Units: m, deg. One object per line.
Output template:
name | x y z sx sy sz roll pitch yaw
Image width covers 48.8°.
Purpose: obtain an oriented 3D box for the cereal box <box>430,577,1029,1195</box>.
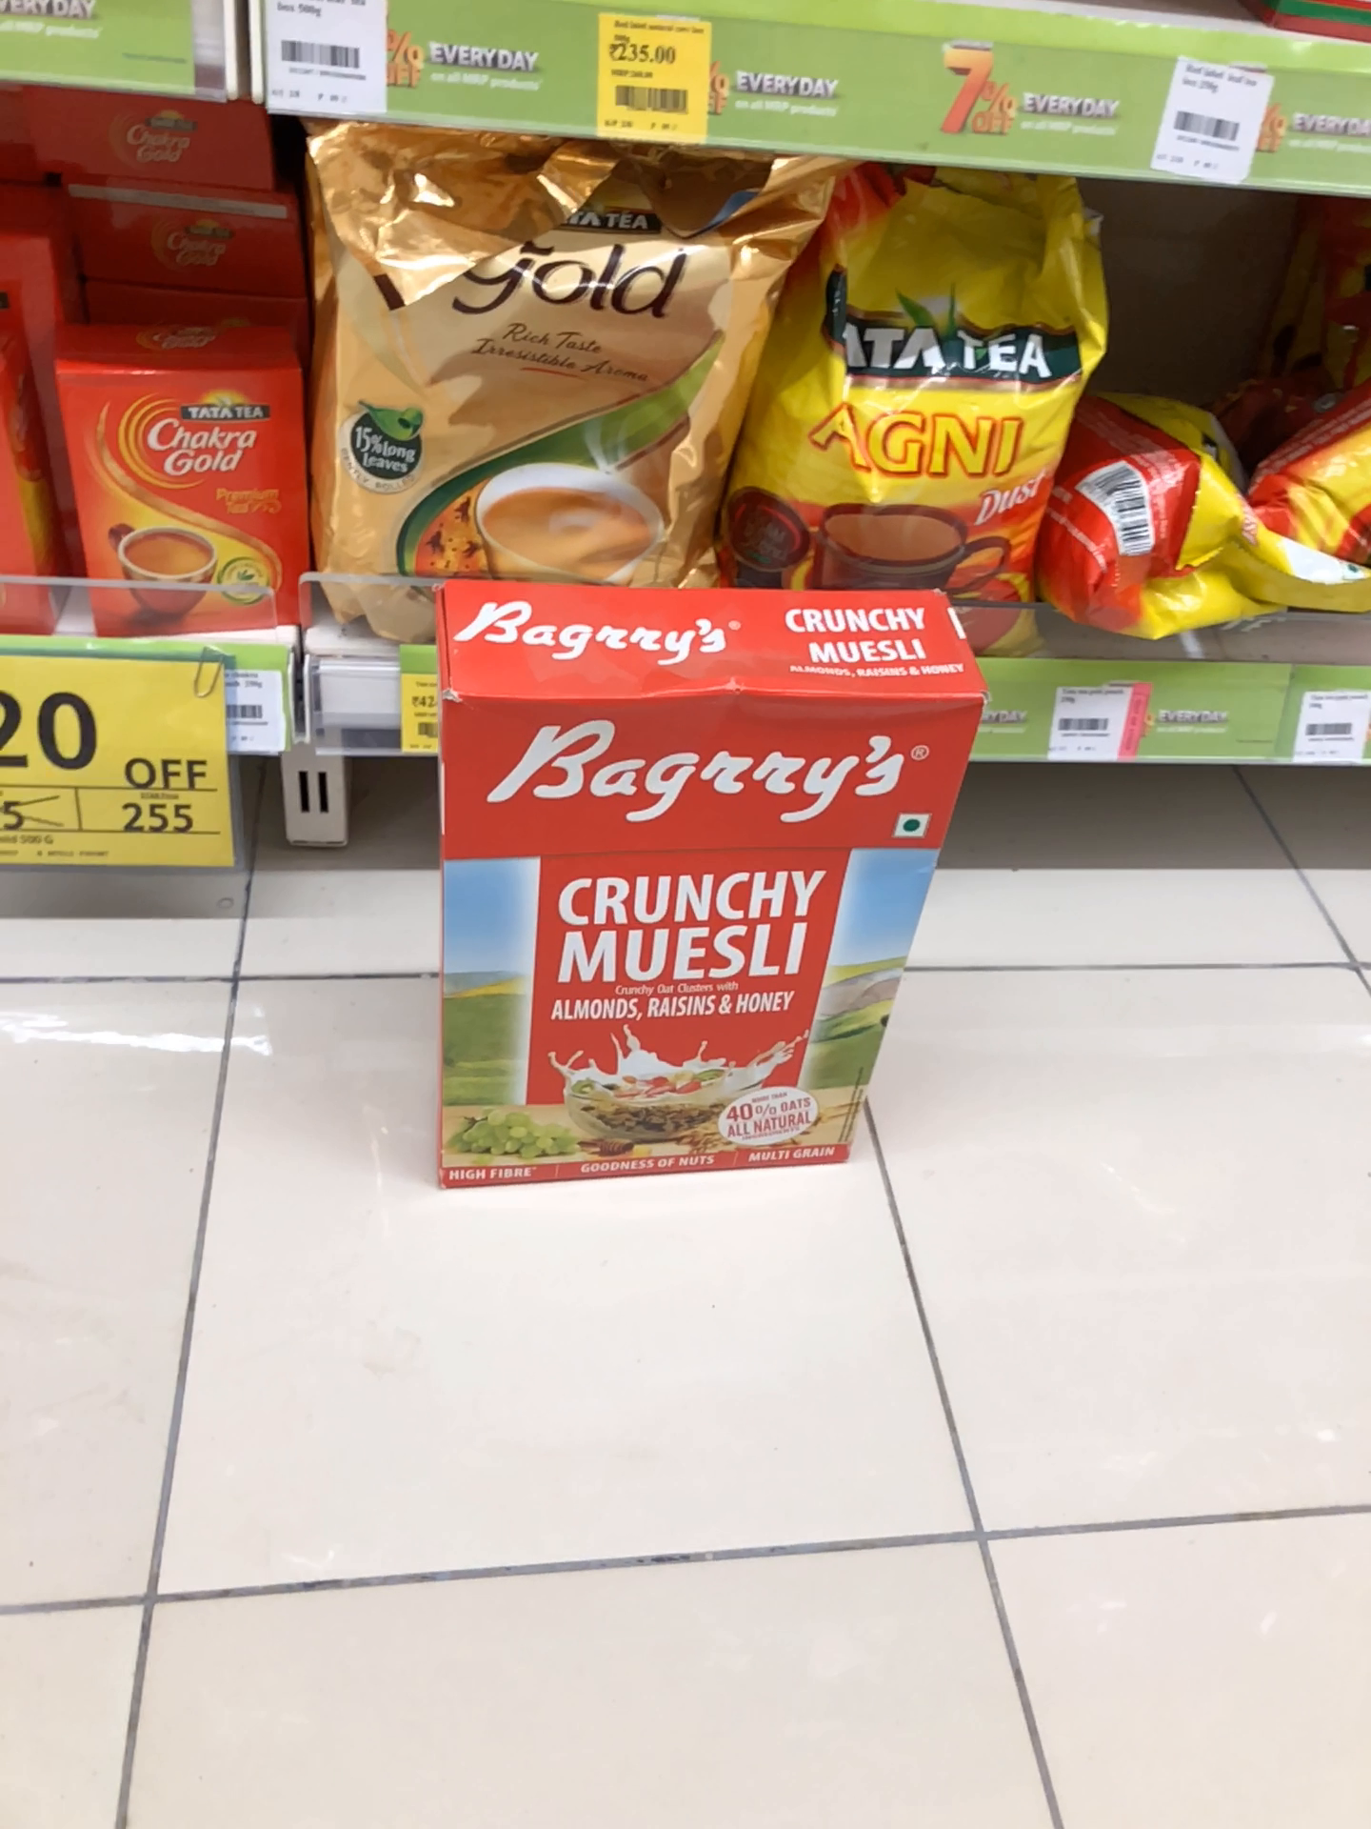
cereal box | 0.000 -0.001 0.616 0.200 0.268 0.070 -2 44 -11
